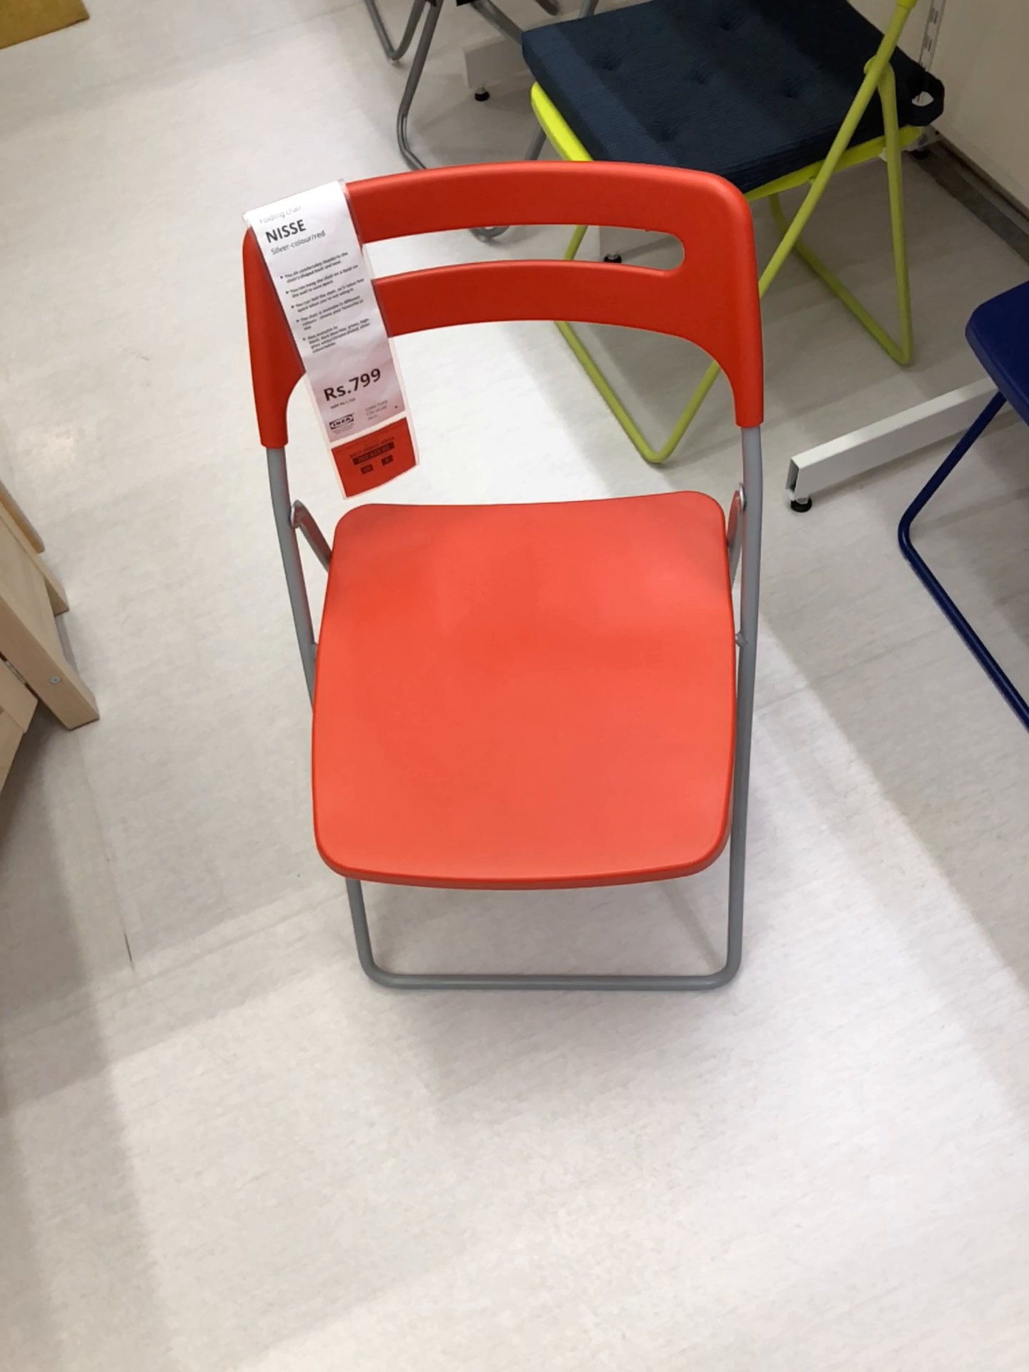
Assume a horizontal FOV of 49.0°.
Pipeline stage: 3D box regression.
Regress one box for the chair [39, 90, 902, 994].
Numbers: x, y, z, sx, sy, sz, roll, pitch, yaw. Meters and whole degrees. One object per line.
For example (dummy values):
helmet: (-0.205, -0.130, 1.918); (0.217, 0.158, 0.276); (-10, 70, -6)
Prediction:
chair: (0.008, -0.046, 0.969); (0.440, 0.677, 0.422); (-1, 58, 5)
